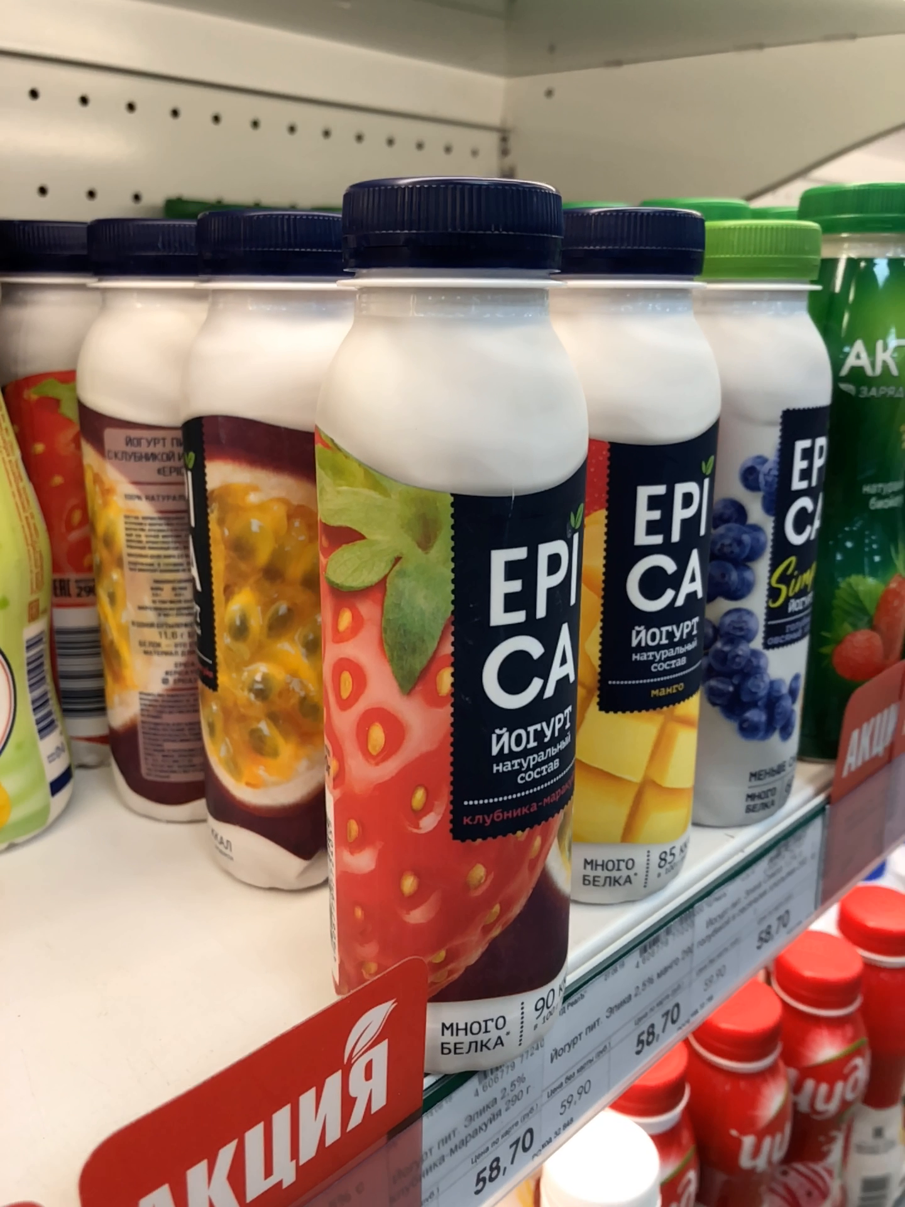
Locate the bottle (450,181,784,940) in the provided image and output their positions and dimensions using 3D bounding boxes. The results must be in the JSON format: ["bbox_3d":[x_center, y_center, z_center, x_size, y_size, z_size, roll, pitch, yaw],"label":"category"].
[{"bbox_3d":[0.037,-0.011,0.263,0.053,0.177,0.051,1,18,0],"label":"bottle"}]

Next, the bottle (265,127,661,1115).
[{"bbox_3d":[0.000,0.005,0.208,0.050,0.180,0.050,1,18,0],"label":"bottle"}]
